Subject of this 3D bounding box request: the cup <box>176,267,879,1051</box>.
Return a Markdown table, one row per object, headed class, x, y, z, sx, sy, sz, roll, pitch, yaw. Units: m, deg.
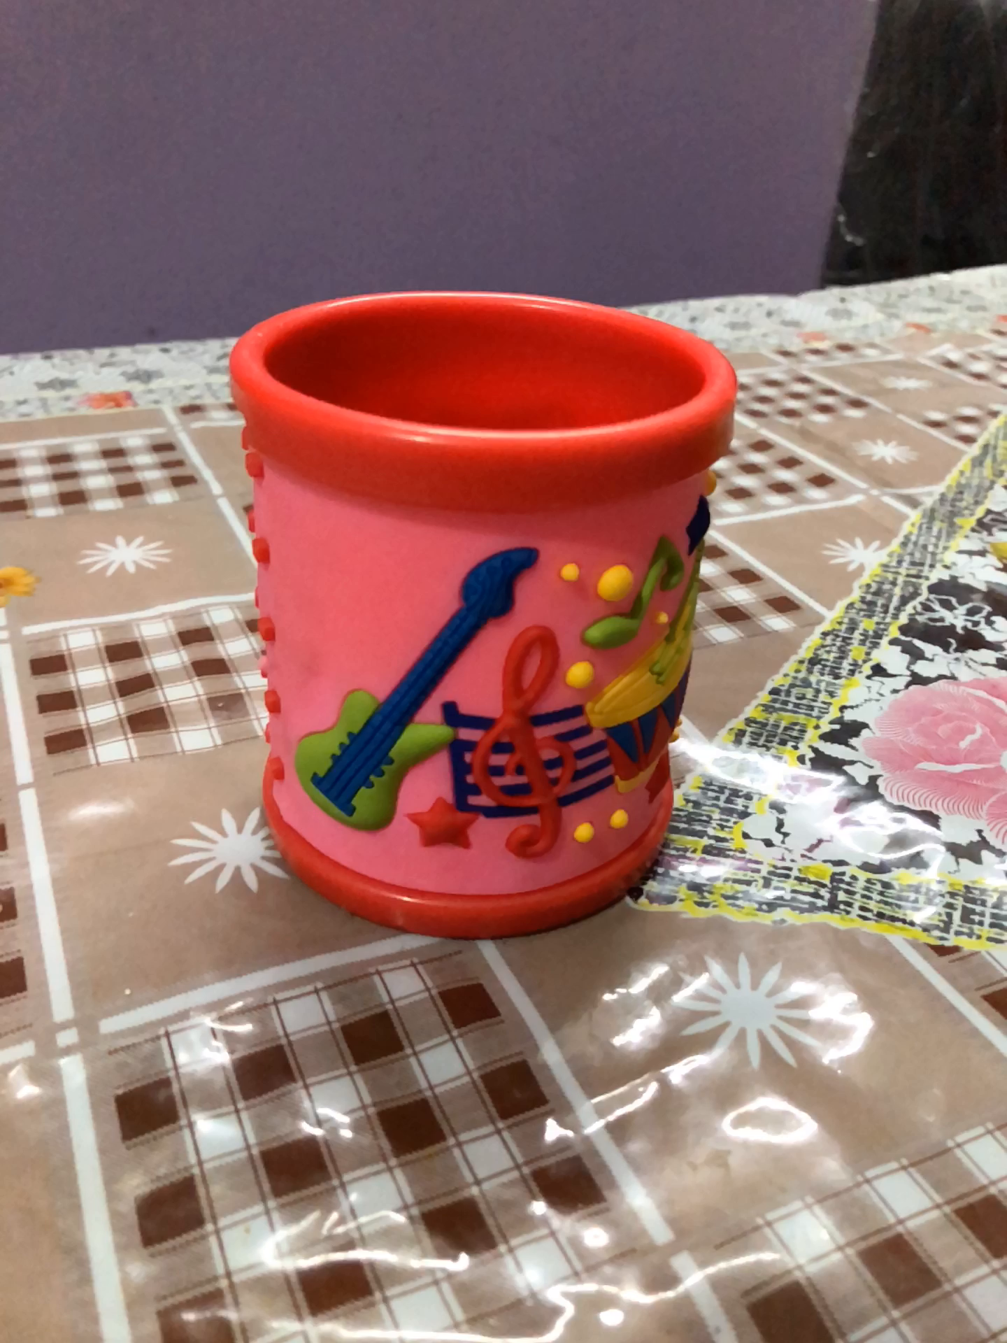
| class | x | y | z | sx | sy | sz | roll | pitch | yaw |
| --- | --- | --- | --- | --- | --- | --- | --- | --- | --- |
| cup | -0.001 | -0.010 | 0.202 | 0.080 | 0.099 | 0.080 | 3 | 31 | -2 |
